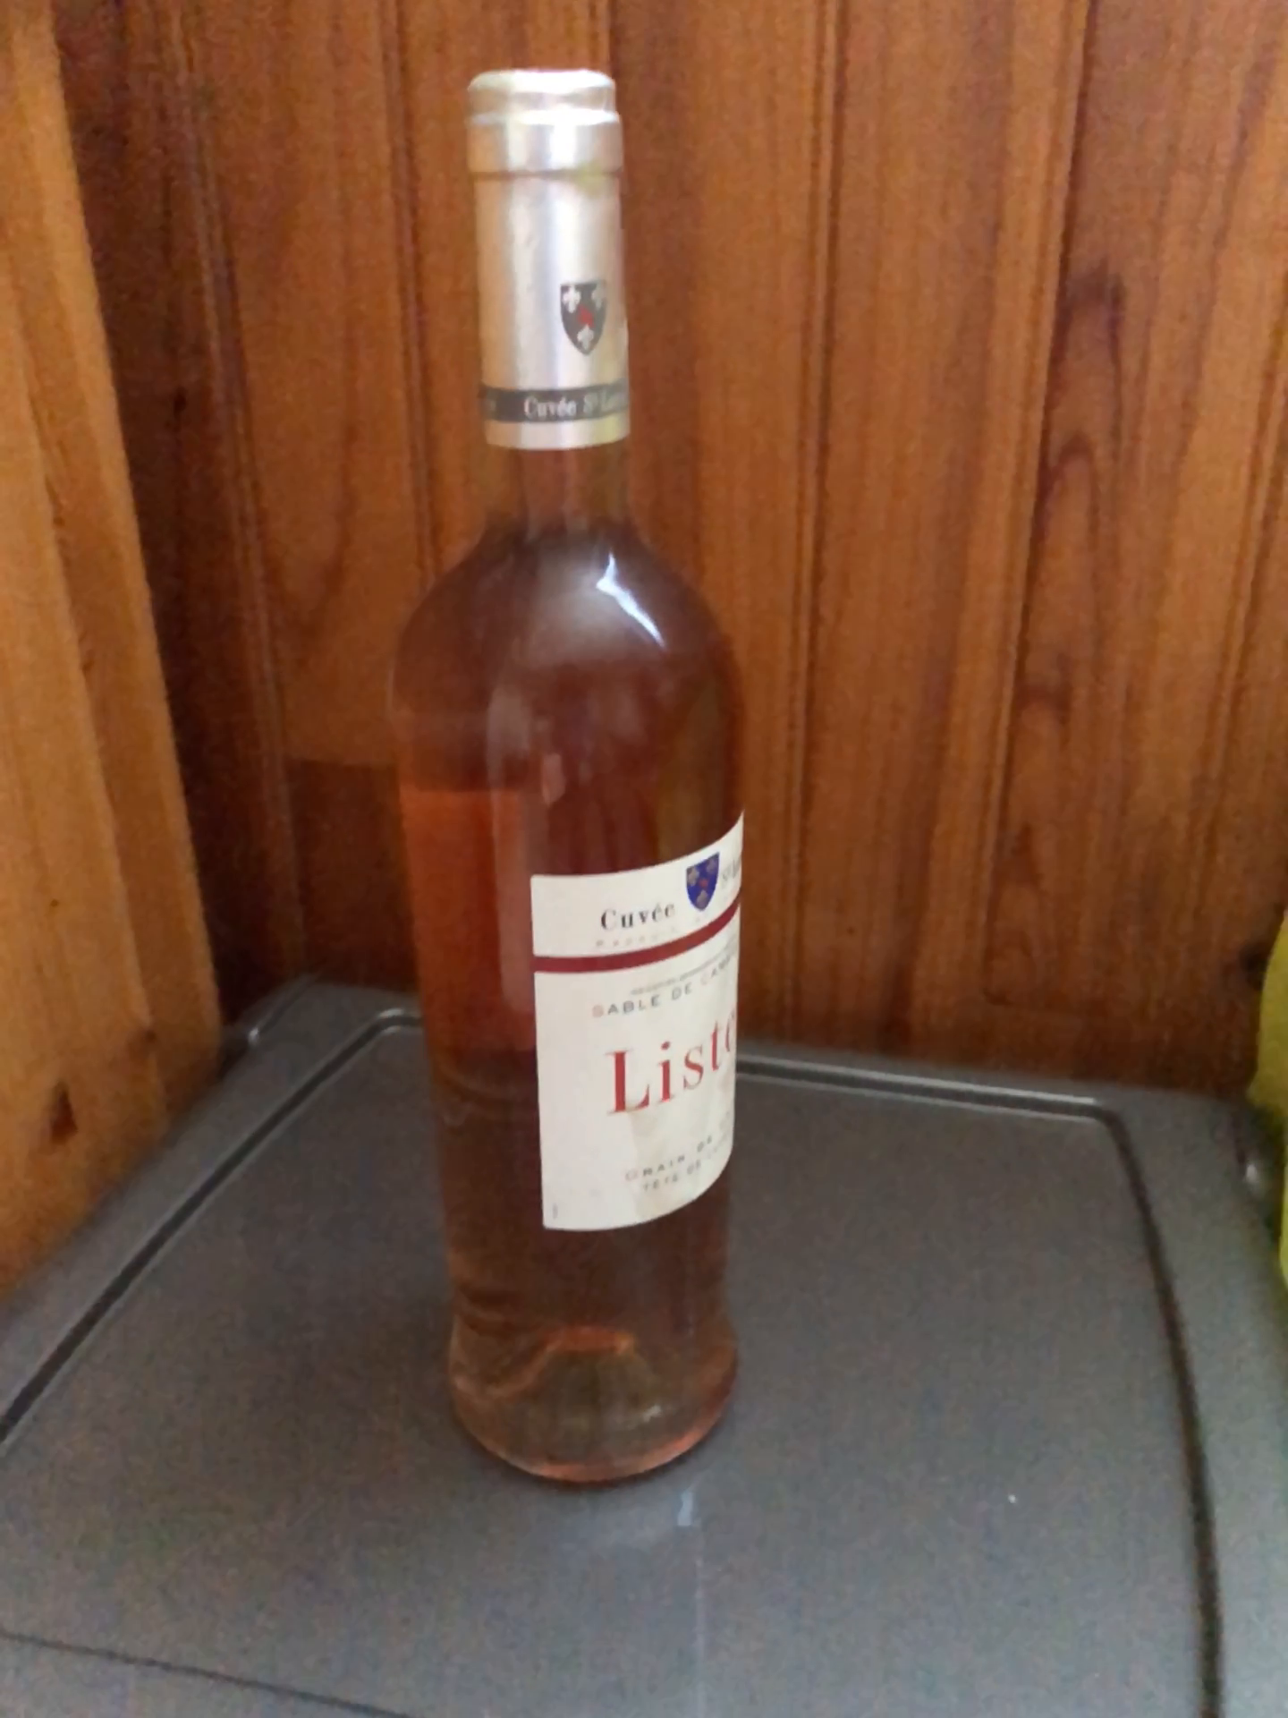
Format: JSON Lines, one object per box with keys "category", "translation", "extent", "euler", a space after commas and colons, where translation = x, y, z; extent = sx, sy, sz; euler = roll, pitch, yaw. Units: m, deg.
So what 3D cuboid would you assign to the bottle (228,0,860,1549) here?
{"category": "bottle", "translation": [-0.015, -0.006, 0.322], "extent": [0.080, 0.318, 0.080], "euler": [-1, 25, 0]}
